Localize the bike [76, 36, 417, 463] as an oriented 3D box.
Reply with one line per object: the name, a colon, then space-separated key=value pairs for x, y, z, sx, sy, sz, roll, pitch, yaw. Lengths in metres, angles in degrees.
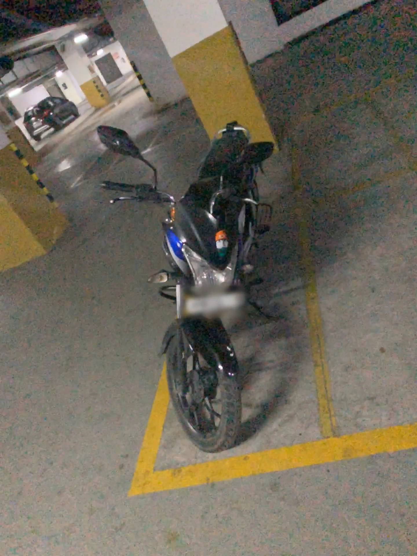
bike: x=0.323 y=-0.396 z=2.327 sx=0.851 sy=1.205 sz=2.221 roll=-20 pitch=29 yaw=17
